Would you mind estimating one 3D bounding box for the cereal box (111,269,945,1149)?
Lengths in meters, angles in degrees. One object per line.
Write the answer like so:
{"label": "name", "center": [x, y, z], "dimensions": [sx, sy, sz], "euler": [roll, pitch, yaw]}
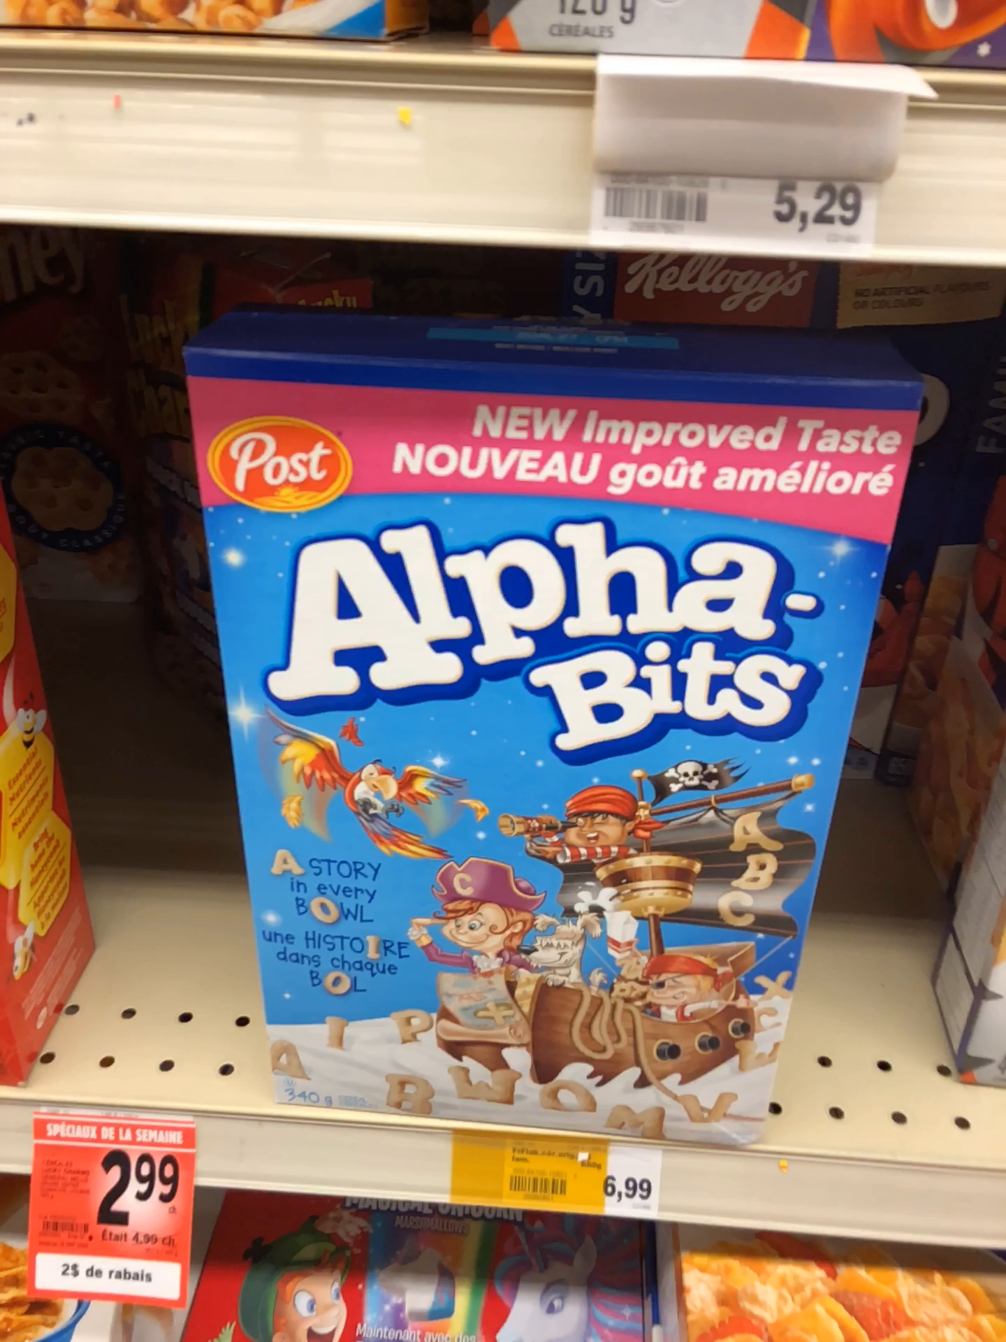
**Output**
{"label": "cereal box", "center": [0.002, 0.032, 0.370], "dimensions": [0.200, 0.298, 0.060], "euler": [4, 33, 4]}
